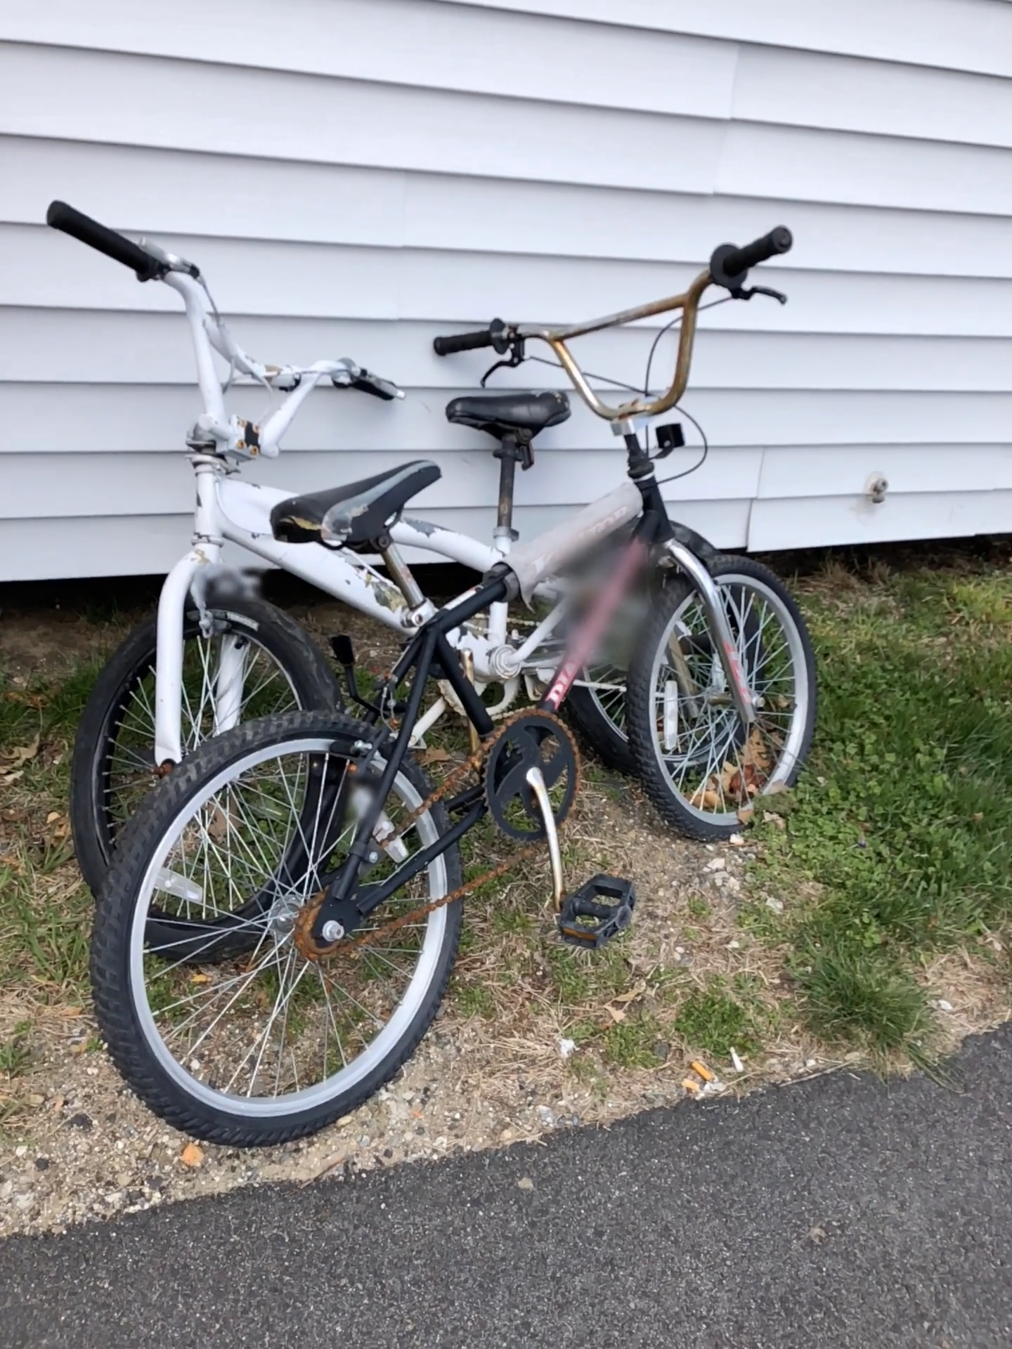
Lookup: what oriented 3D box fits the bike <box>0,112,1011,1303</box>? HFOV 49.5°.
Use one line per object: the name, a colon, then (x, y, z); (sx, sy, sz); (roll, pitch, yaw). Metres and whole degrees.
bike: (-0.037, -0.154, 1.478); (0.757, 0.932, 1.302); (31, 40, 32)
